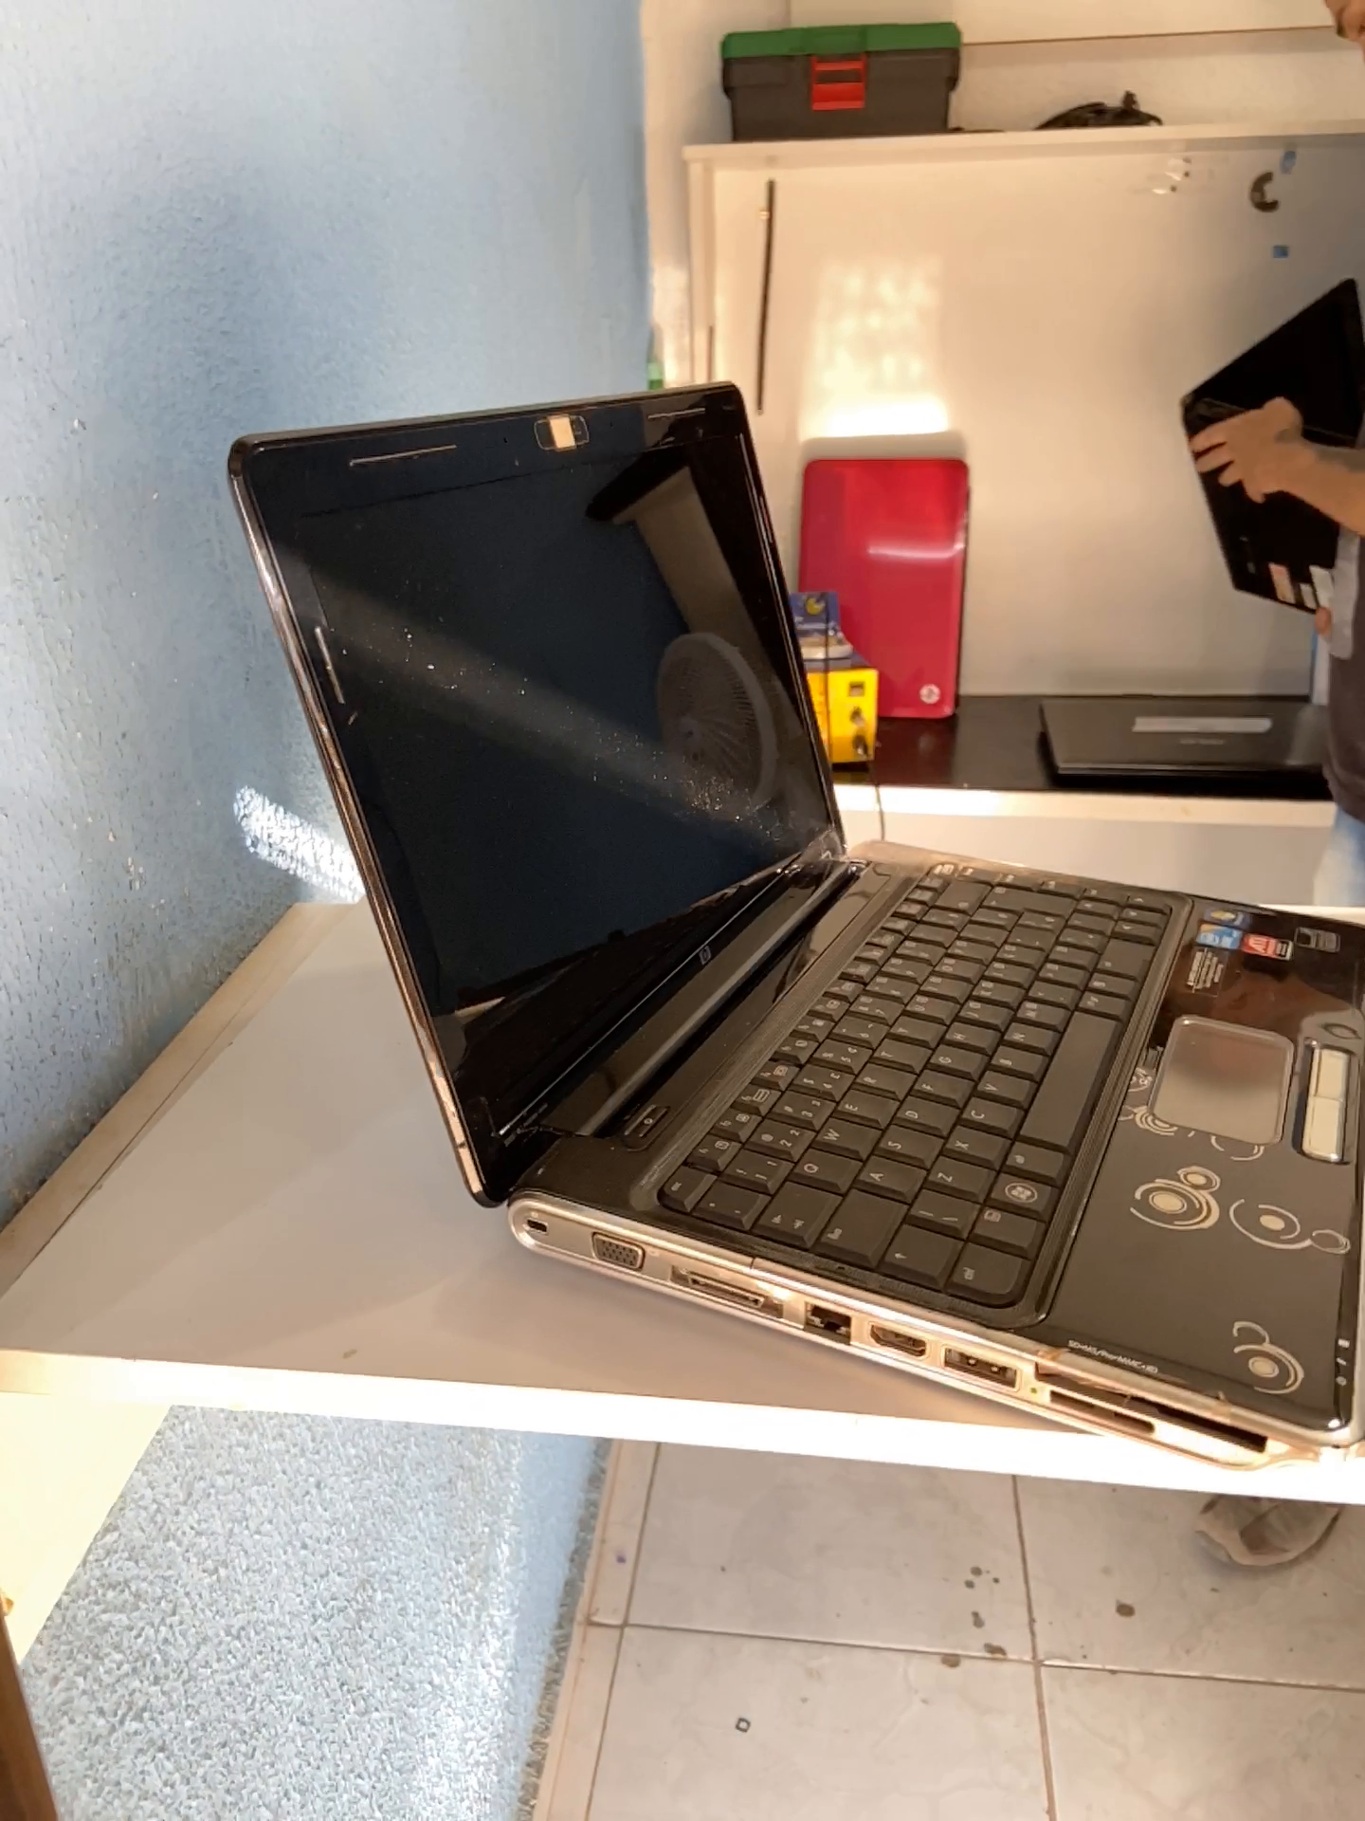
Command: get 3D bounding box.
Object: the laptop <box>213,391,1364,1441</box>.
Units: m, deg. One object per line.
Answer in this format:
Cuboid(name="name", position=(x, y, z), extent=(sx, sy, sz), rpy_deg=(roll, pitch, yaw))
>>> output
Cuboid(name="laptop", position=(0.085, -0.055, 0.487), extent=(0.301, 0.211, 0.323), rpy_deg=(10, 25, 23))
